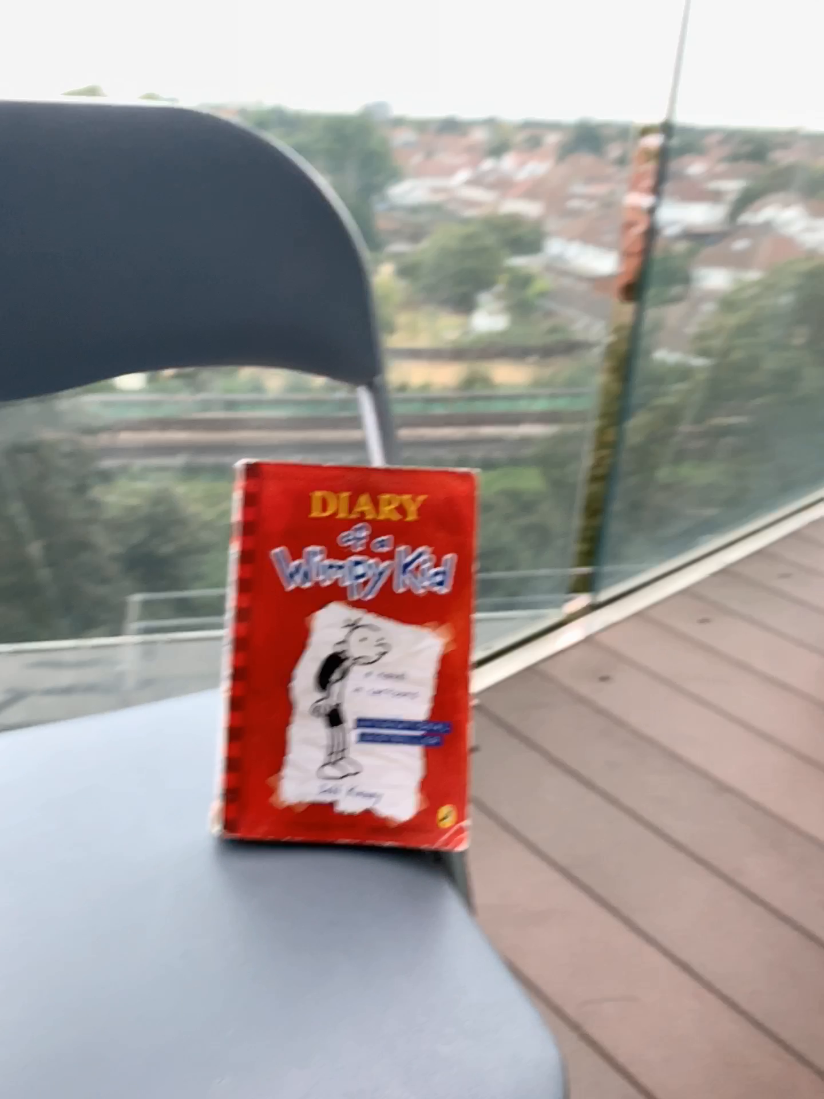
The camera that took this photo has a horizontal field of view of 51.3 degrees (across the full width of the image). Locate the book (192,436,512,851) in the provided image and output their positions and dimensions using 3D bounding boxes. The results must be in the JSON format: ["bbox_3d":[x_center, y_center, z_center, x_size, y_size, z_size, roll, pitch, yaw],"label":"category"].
[{"bbox_3d":[-0.028,0.046,0.453,0.150,0.201,0.040,3,-6,1],"label":"book"}]
